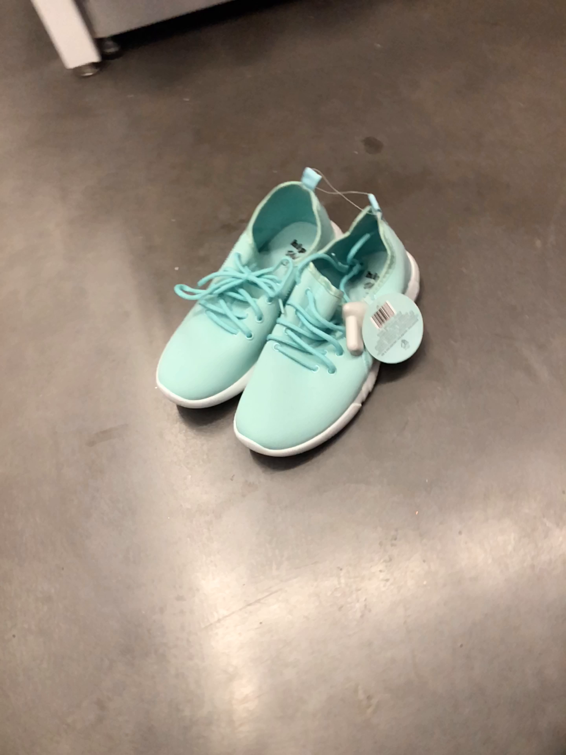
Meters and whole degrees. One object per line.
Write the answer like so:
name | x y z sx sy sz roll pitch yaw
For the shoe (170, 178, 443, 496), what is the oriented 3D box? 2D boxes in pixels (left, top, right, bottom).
shoe | 0.029 -0.036 0.522 0.100 0.100 0.231 29 71 21

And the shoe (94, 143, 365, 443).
shoe | -0.035 -0.077 0.551 0.100 0.100 0.231 31 71 22
